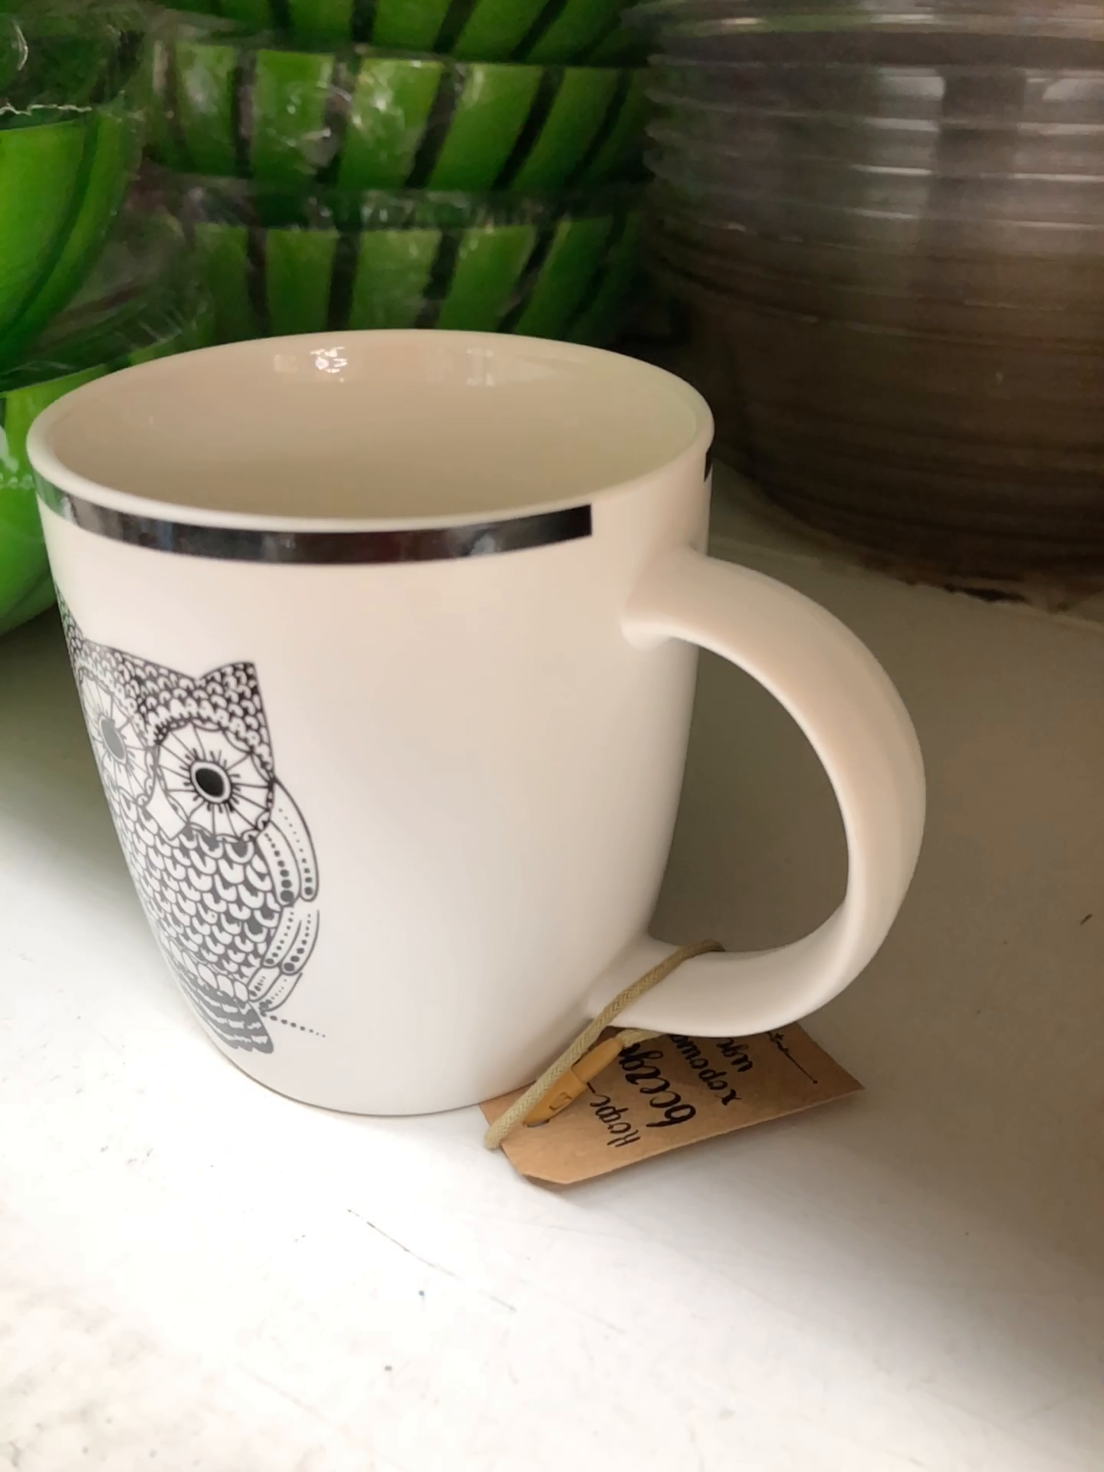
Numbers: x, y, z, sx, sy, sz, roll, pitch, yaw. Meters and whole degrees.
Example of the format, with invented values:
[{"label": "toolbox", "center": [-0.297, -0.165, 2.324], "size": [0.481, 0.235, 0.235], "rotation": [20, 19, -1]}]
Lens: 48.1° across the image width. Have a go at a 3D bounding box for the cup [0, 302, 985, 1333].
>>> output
[{"label": "cup", "center": [-0.011, -0.001, 0.174], "size": [0.110, 0.093, 0.077], "rotation": [15, 33, 24]}]
